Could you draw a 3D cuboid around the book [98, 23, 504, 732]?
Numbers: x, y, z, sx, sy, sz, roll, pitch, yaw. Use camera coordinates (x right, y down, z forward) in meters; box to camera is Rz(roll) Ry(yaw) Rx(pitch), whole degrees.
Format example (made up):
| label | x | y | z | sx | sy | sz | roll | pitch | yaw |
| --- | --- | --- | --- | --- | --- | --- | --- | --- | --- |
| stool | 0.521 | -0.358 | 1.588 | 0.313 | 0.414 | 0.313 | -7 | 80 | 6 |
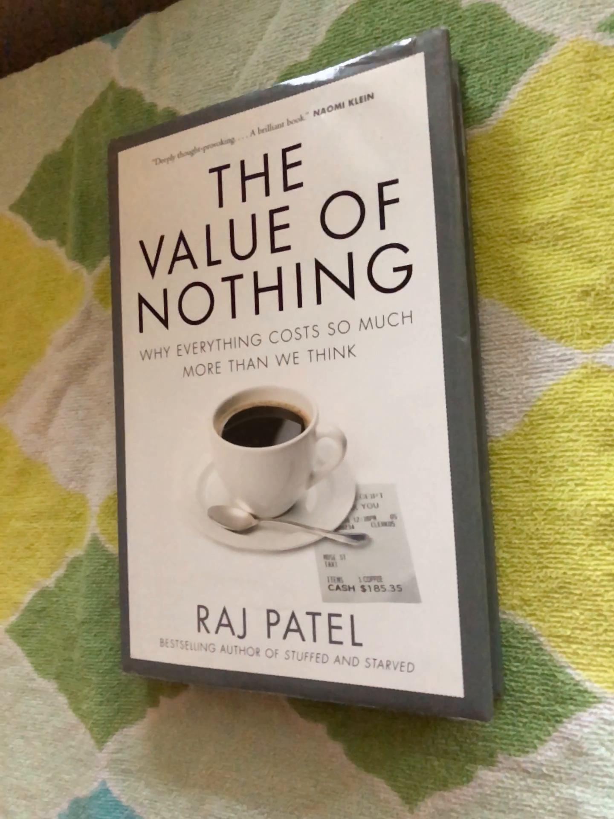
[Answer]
| label | x | y | z | sx | sy | sz | roll | pitch | yaw |
| --- | --- | --- | --- | --- | --- | --- | --- | --- | --- |
| book | -0.011 | -0.008 | 0.242 | 0.140 | 0.030 | 0.206 | -5 | 84 | 28 |
